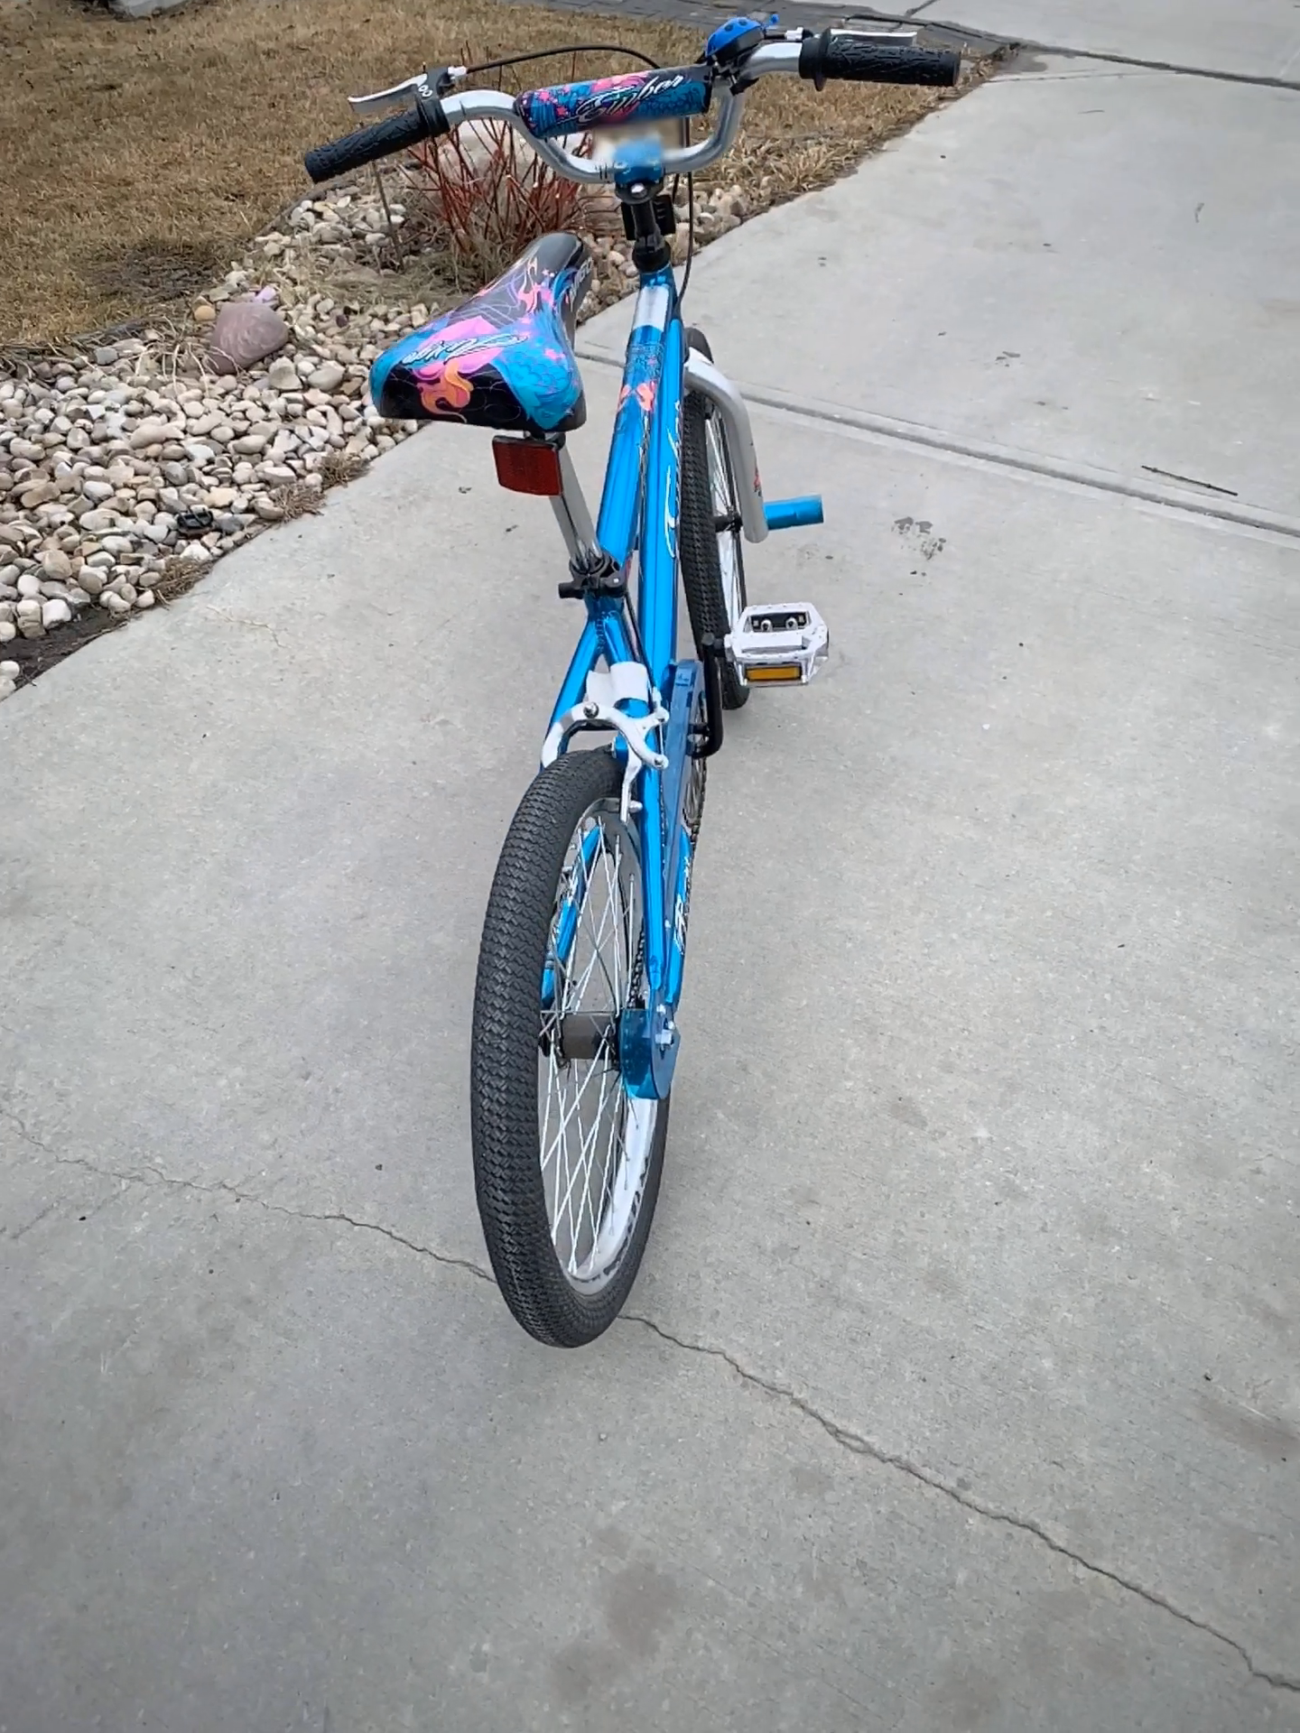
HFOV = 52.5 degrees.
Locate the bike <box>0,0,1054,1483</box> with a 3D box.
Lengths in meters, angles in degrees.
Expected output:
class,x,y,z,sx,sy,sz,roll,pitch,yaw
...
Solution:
class,x,y,z,sx,sy,sz,roll,pitch,yaw
bike,-0.104,-0.300,1.352,0.680,0.837,1.393,4,45,5
